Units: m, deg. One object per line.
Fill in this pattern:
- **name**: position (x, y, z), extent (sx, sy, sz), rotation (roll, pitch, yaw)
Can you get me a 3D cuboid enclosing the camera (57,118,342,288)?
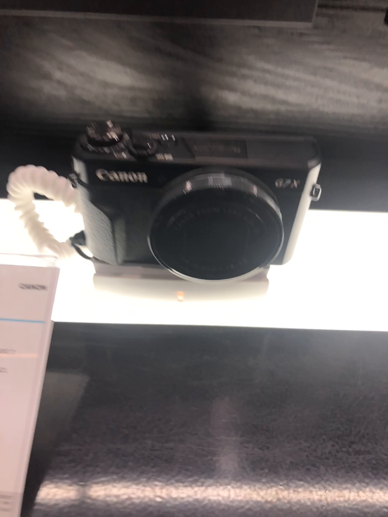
- **camera**: position (0.001, -0.022, 0.186), extent (0.100, 0.056, 0.038), rotation (2, 43, -1)
